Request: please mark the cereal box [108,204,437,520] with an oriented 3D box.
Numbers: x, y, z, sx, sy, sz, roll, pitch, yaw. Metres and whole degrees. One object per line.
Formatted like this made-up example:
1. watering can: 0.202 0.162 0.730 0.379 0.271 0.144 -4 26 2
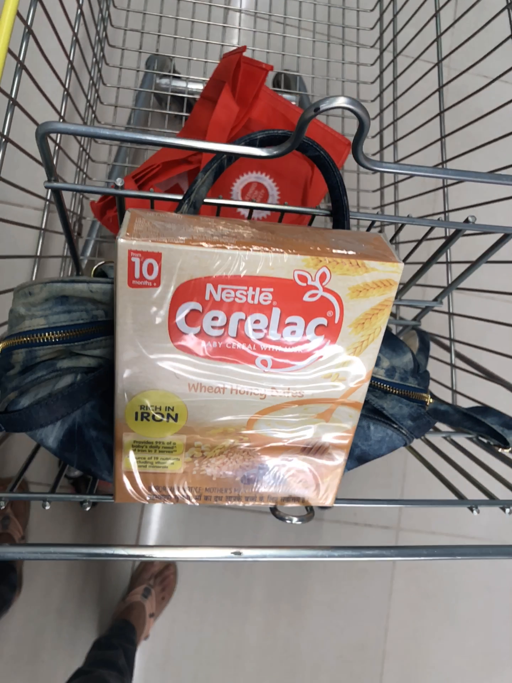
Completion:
1. cereal box: -0.003 0.023 0.363 0.170 0.060 0.190 3 121 -9
